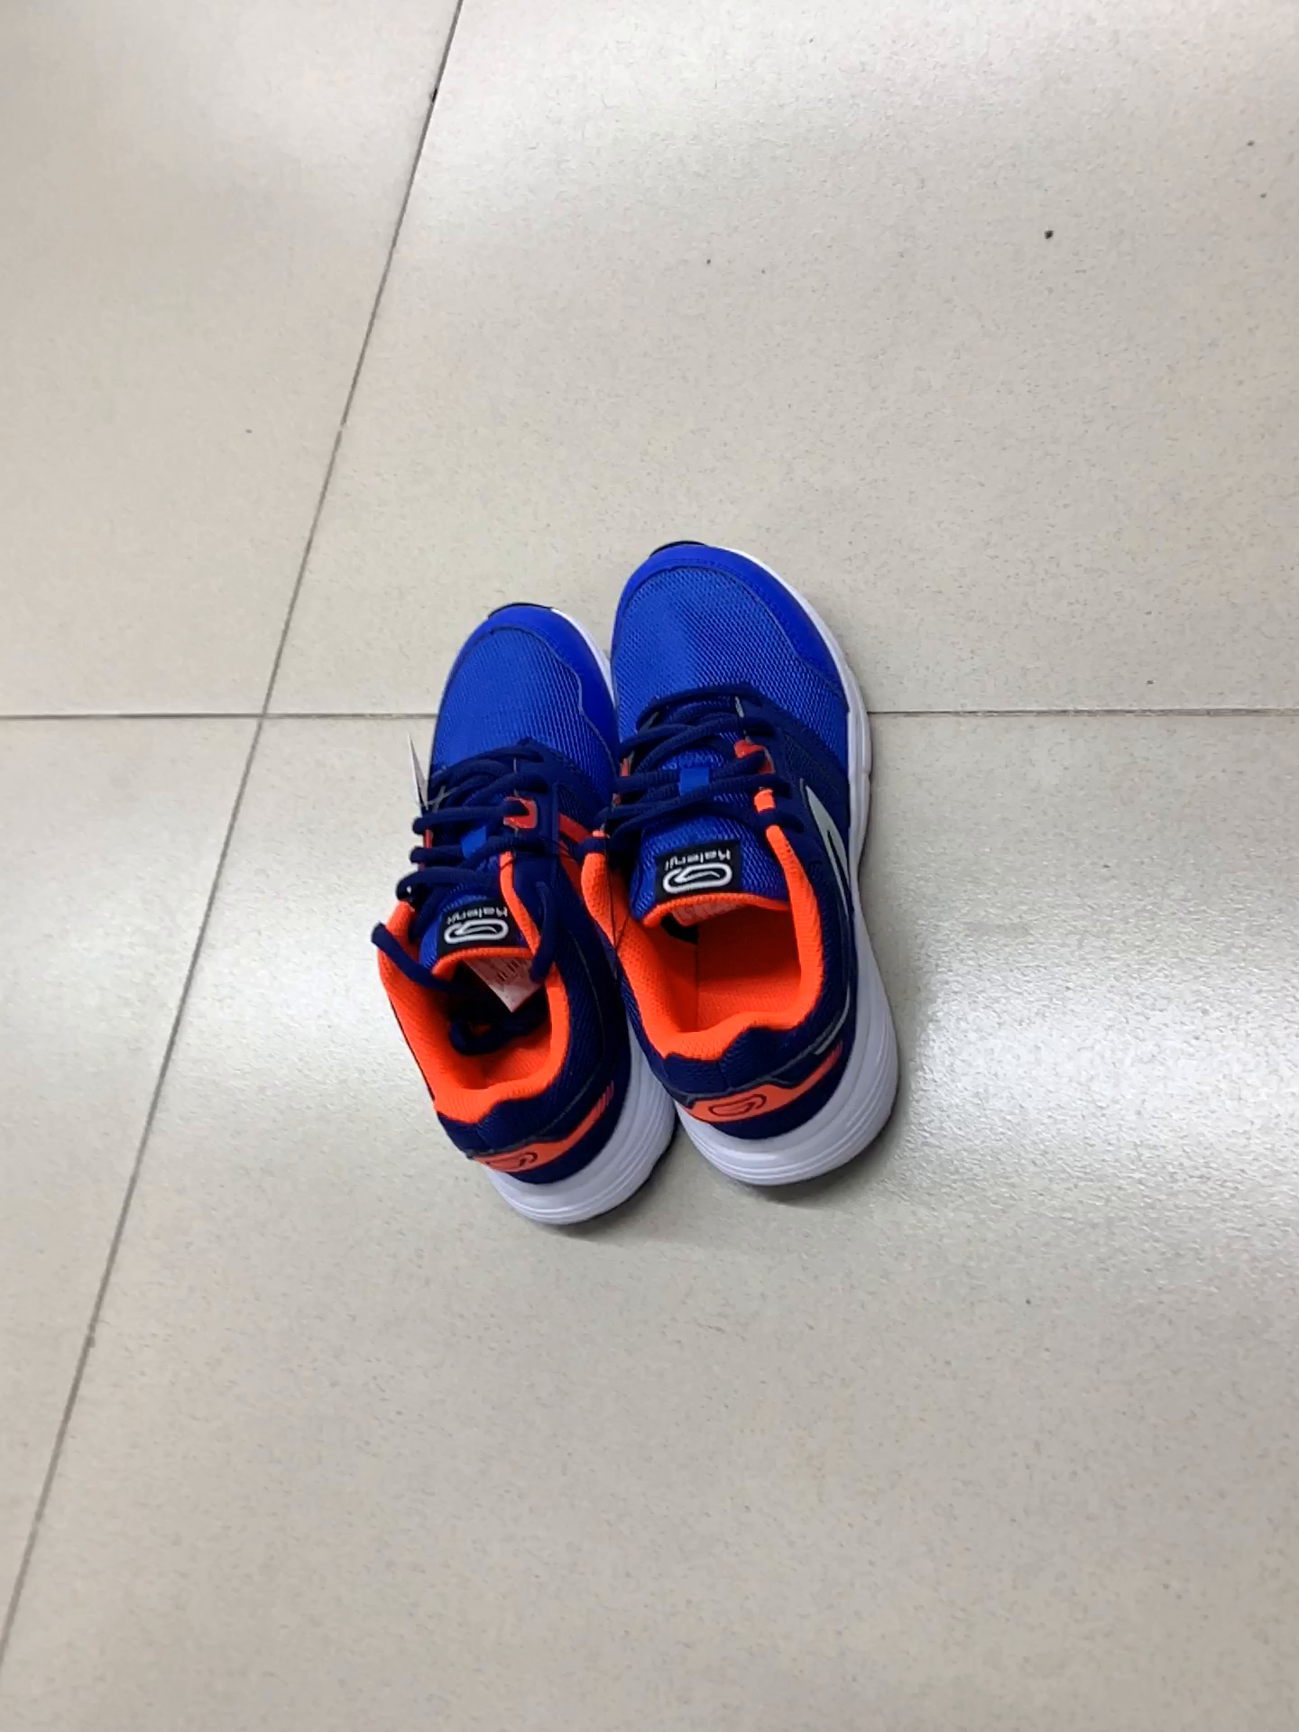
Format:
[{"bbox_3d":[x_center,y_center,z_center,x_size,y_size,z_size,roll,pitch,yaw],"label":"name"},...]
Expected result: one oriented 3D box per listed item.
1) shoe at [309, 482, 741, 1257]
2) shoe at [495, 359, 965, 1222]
[{"bbox_3d":[-0.049,0.006,0.497,0.090,0.120,0.250,-17,65,19],"label":"shoe"},{"bbox_3d":[0.025,-0.020,0.449,0.090,0.120,0.250,-15,66,19],"label":"shoe"}]
